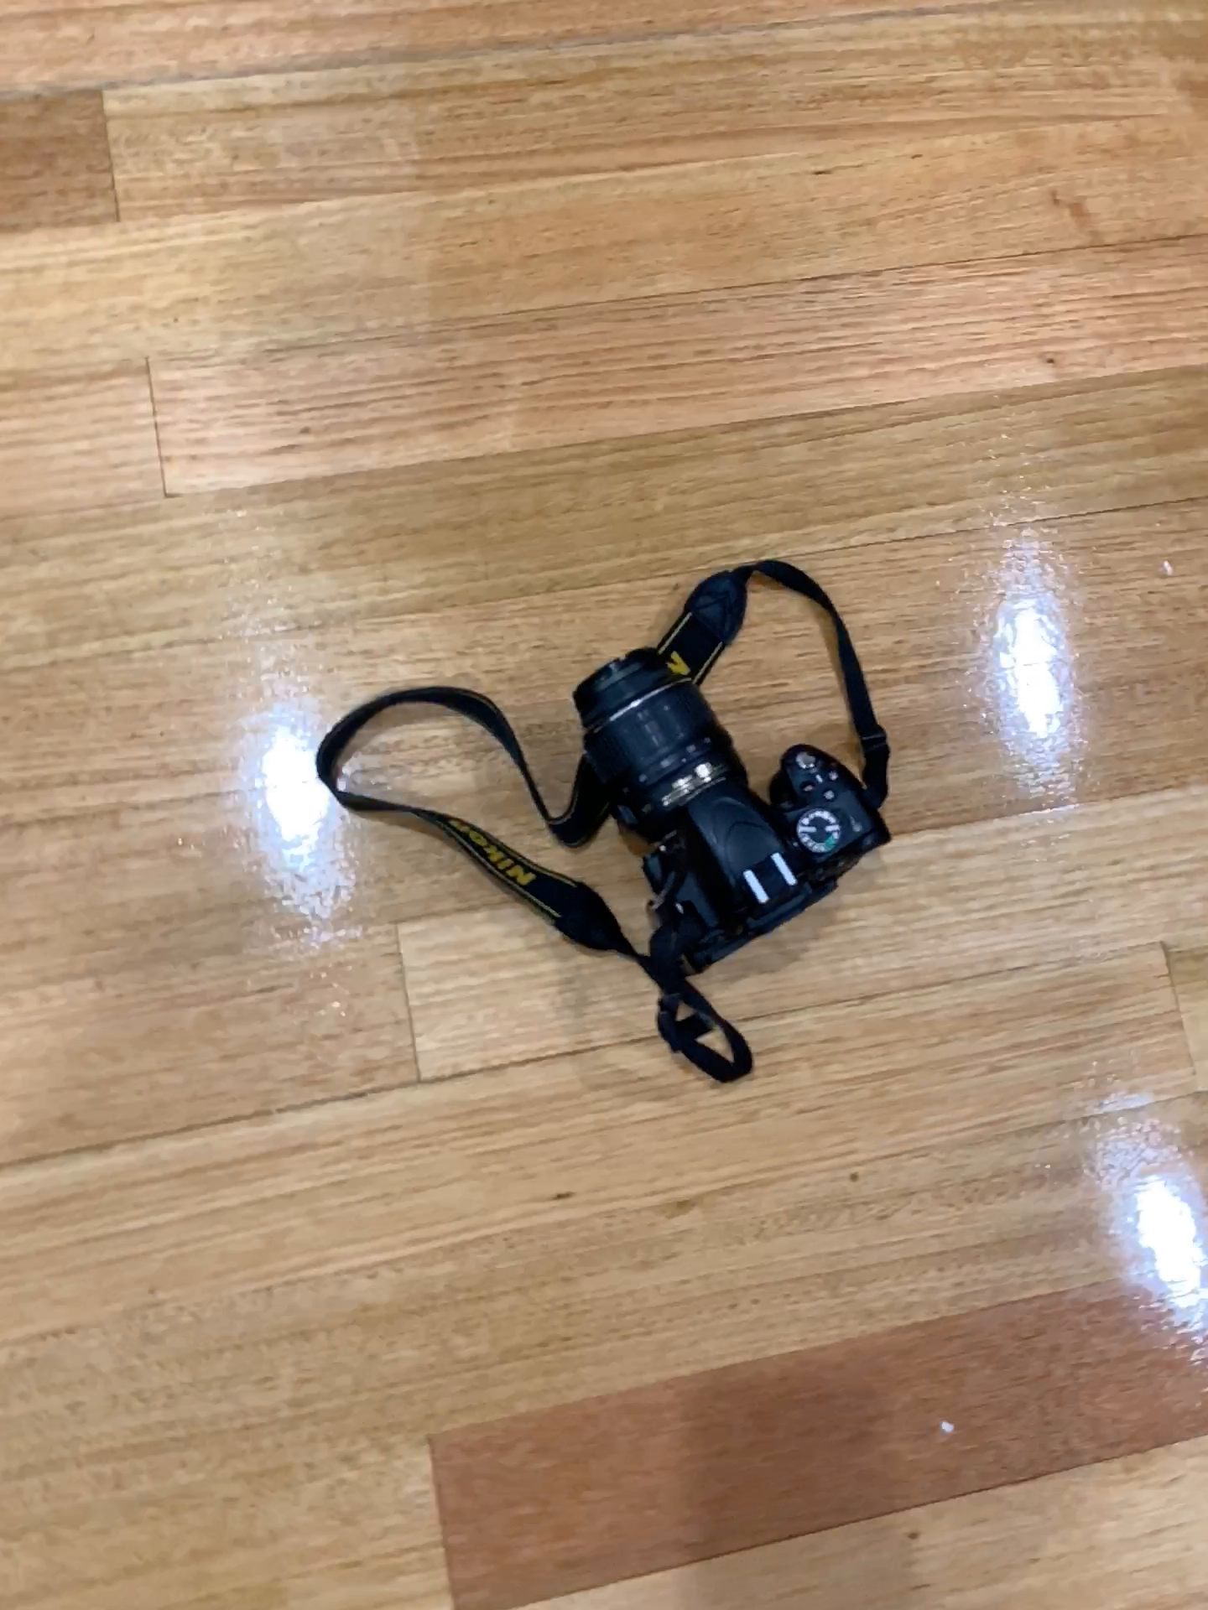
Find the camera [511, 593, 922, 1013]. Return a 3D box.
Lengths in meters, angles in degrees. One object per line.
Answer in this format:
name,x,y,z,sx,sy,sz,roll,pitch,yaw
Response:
camera,0.051,0.004,0.641,0.130,0.100,0.160,-34,85,-10
